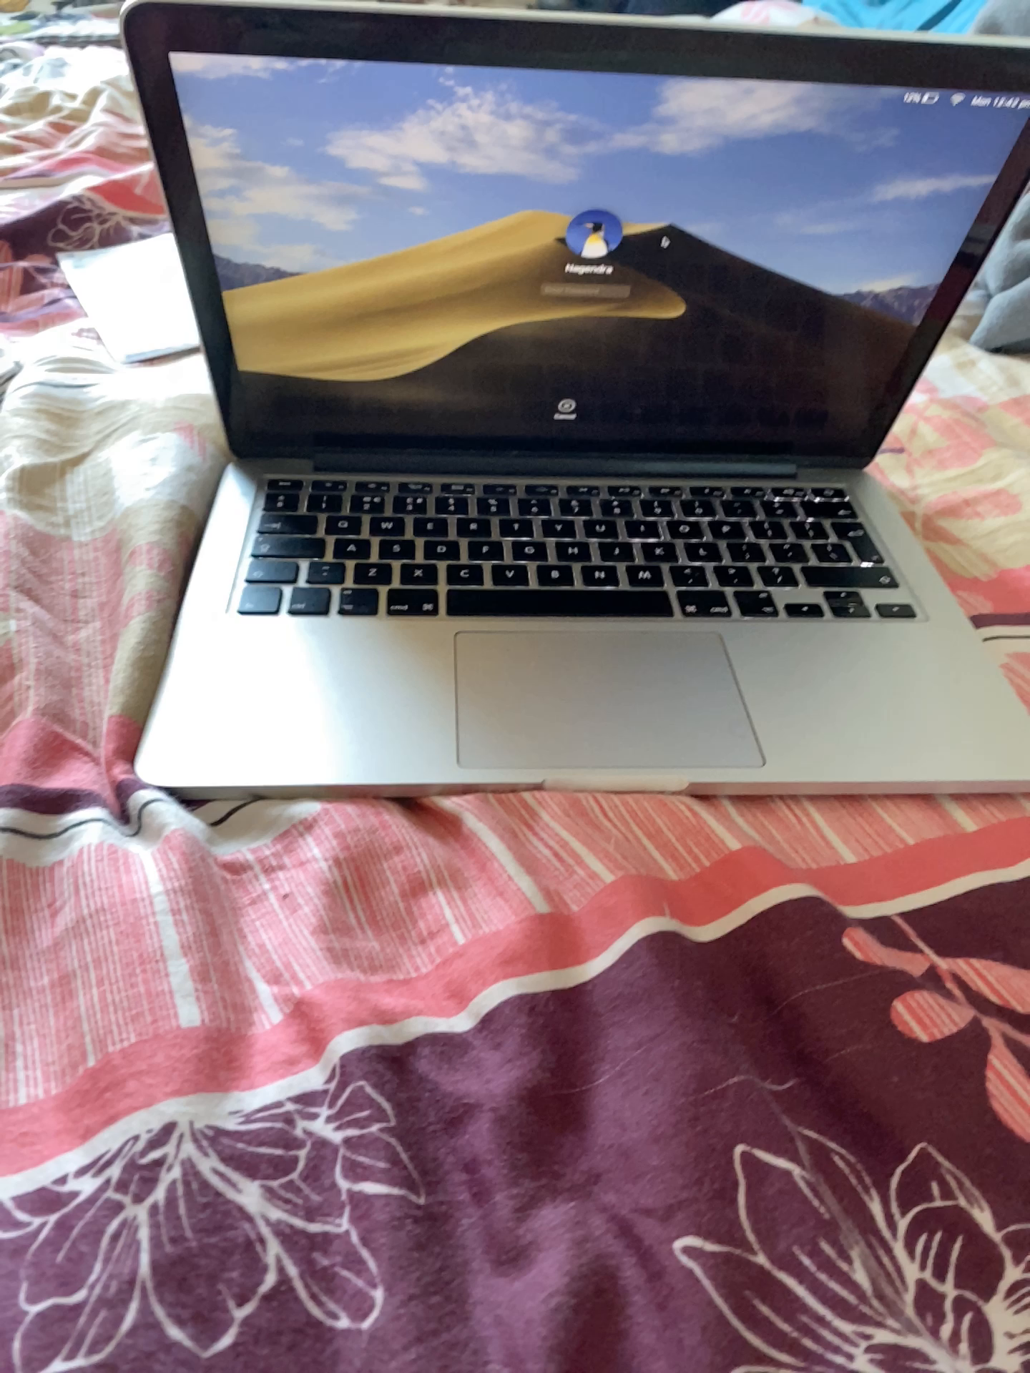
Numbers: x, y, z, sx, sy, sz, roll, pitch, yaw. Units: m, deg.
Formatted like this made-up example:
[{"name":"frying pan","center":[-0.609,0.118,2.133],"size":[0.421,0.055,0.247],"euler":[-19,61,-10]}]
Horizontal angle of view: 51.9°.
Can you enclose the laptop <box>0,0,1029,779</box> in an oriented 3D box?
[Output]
[{"name":"laptop","center":[0.026,-0.108,0.362],"size":[0.303,0.191,0.203],"euler":[0,42,-3]}]
